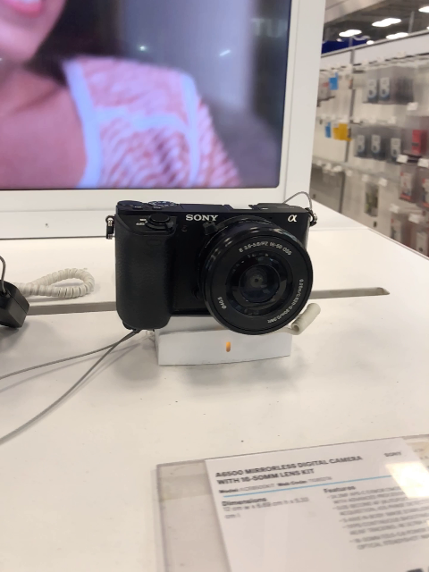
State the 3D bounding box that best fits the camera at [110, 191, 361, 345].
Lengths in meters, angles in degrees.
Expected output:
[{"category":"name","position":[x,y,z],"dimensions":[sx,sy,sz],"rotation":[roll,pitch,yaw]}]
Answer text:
[{"category":"camera","position":[0.007,-0.015,0.280],"dimensions":[0.130,0.070,0.060],"rotation":[-3,20,-11]}]
